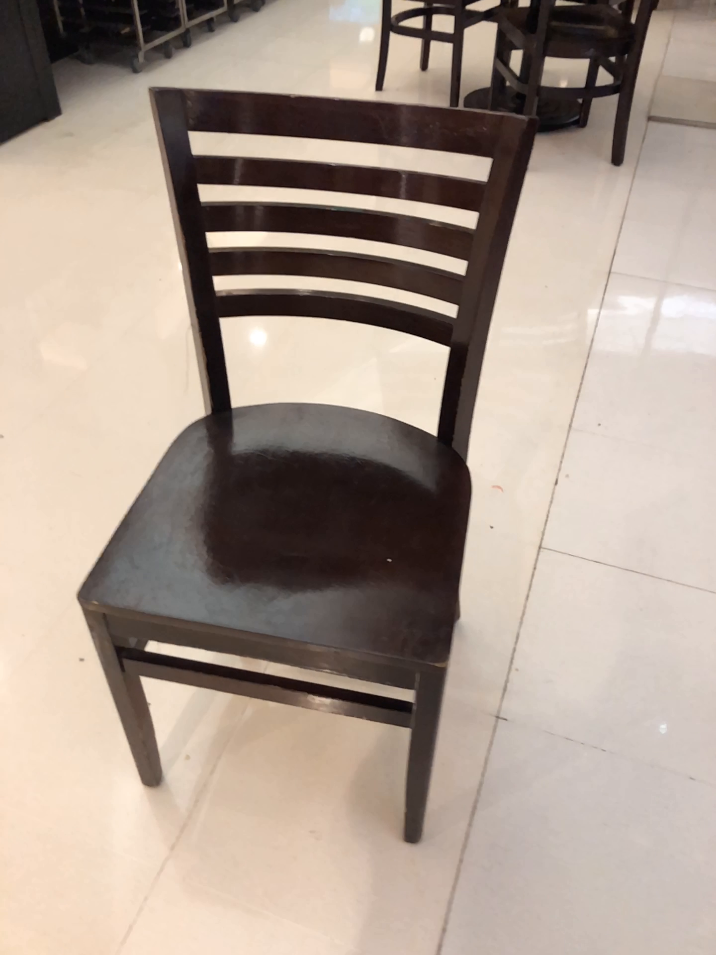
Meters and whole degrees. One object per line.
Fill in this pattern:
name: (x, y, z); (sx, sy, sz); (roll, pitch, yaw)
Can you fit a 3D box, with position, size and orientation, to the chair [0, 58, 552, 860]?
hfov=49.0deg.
chair: (-0.063, 0.002, 1.033); (0.460, 0.844, 0.544); (9, 43, 9)
